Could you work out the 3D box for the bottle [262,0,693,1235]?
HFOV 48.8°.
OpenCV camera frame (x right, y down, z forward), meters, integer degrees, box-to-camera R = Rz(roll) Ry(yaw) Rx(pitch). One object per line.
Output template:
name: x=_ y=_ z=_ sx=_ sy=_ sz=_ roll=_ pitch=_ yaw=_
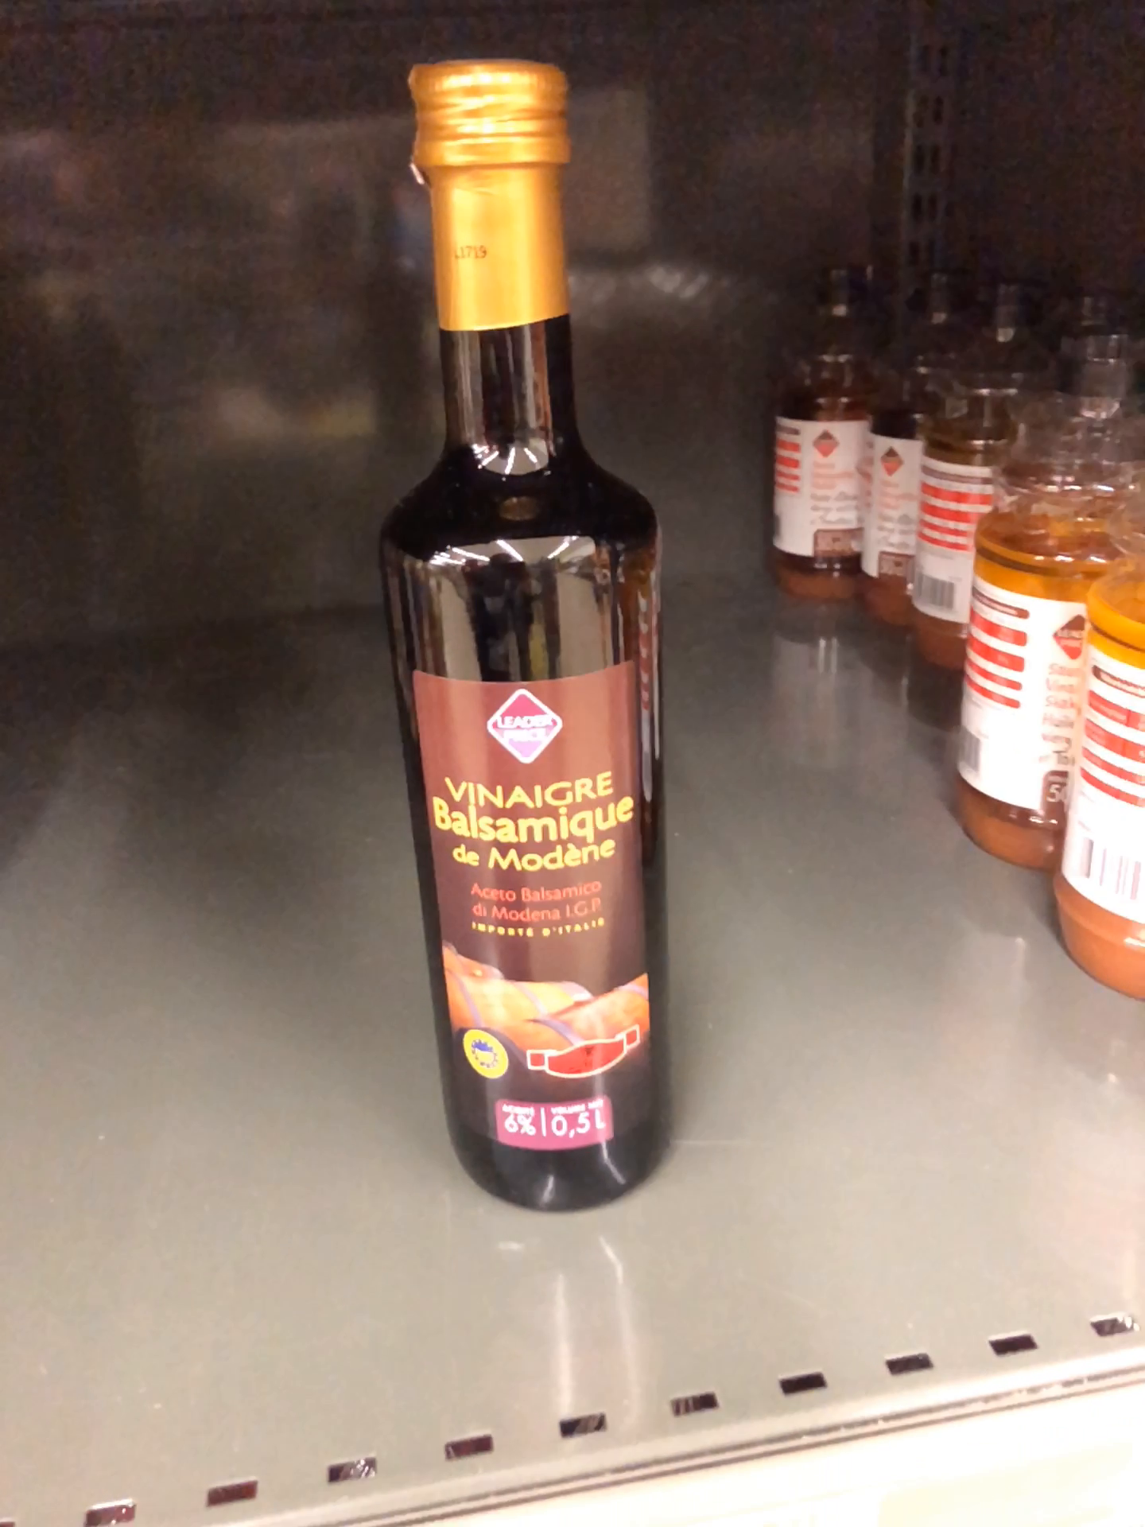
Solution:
bottle: x=-0.012 y=-0.020 z=0.299 sx=0.070 sy=0.269 sz=0.070 roll=-3 pitch=24 yaw=1
